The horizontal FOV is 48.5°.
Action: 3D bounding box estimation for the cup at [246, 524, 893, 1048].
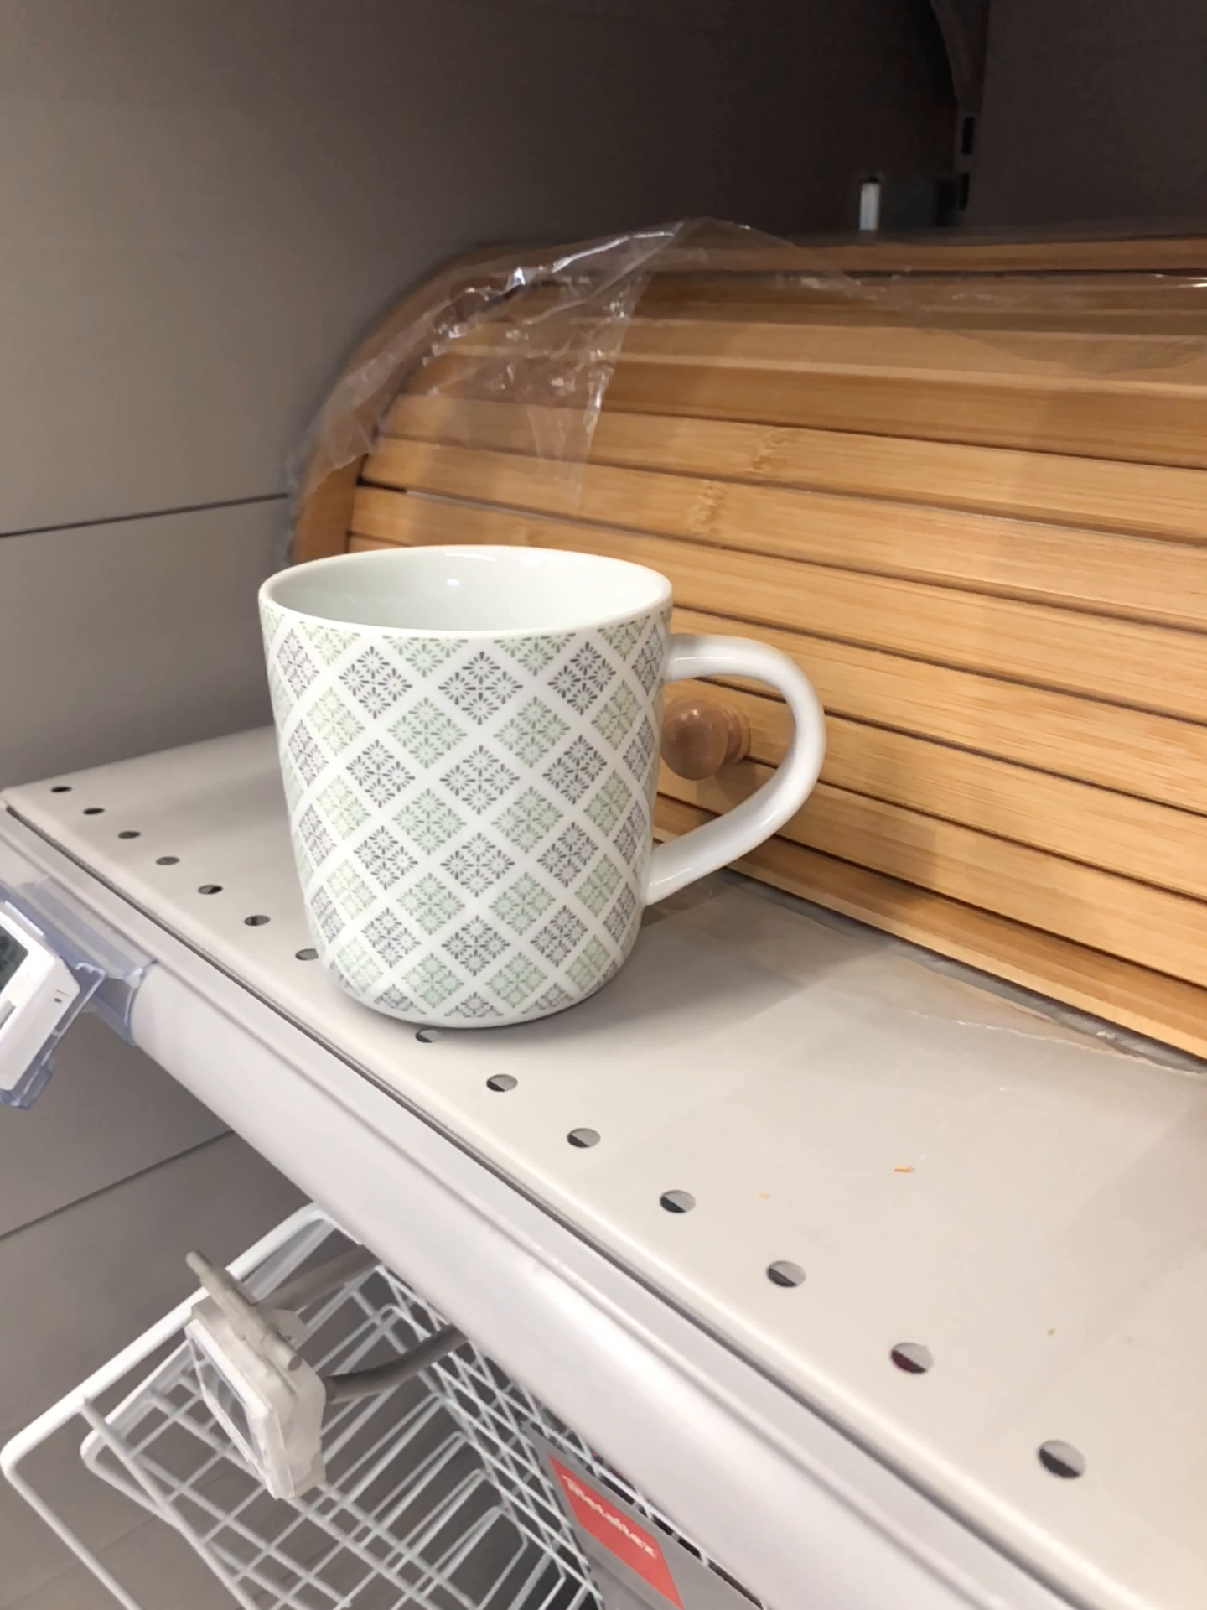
[{"bbox_3d":[-0.008,-0.010,0.301,0.118,0.090,0.086,-1,22,-4],"label":"cup"}]
